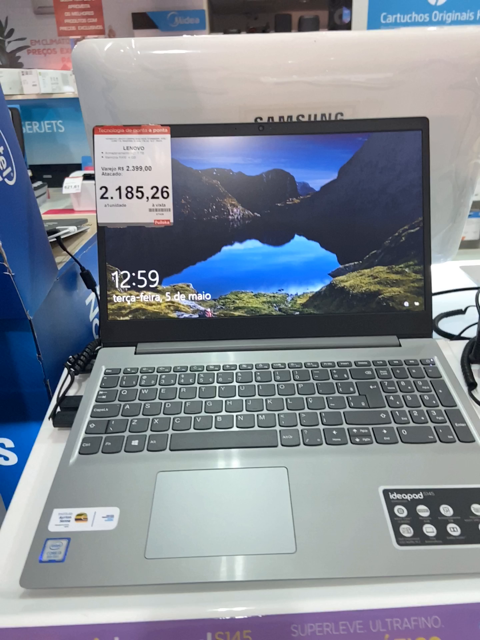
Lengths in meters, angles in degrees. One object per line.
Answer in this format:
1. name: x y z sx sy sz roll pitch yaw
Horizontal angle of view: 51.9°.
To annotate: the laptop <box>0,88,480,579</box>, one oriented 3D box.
1. laptop: 0.023 -0.045 0.439 0.358 0.212 0.390 -2 33 0
